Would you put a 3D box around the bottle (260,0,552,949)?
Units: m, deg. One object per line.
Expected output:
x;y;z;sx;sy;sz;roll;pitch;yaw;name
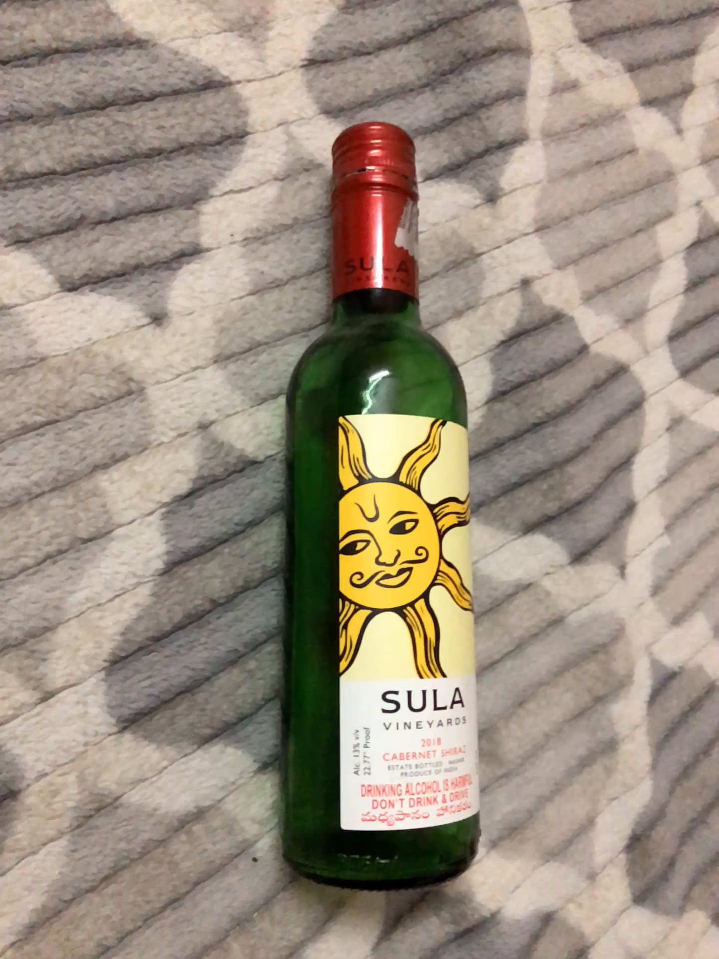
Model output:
0.013;-0.006;0.227;0.060;0.050;0.230;5;81;-25;bottle
